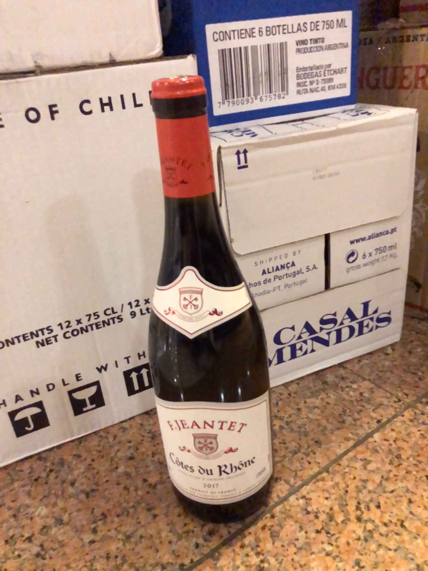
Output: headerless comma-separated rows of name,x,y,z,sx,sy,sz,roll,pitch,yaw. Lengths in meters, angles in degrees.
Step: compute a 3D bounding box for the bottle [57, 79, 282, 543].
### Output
bottle,-0.008,0.031,0.303,0.090,0.288,0.081,-3,26,7
